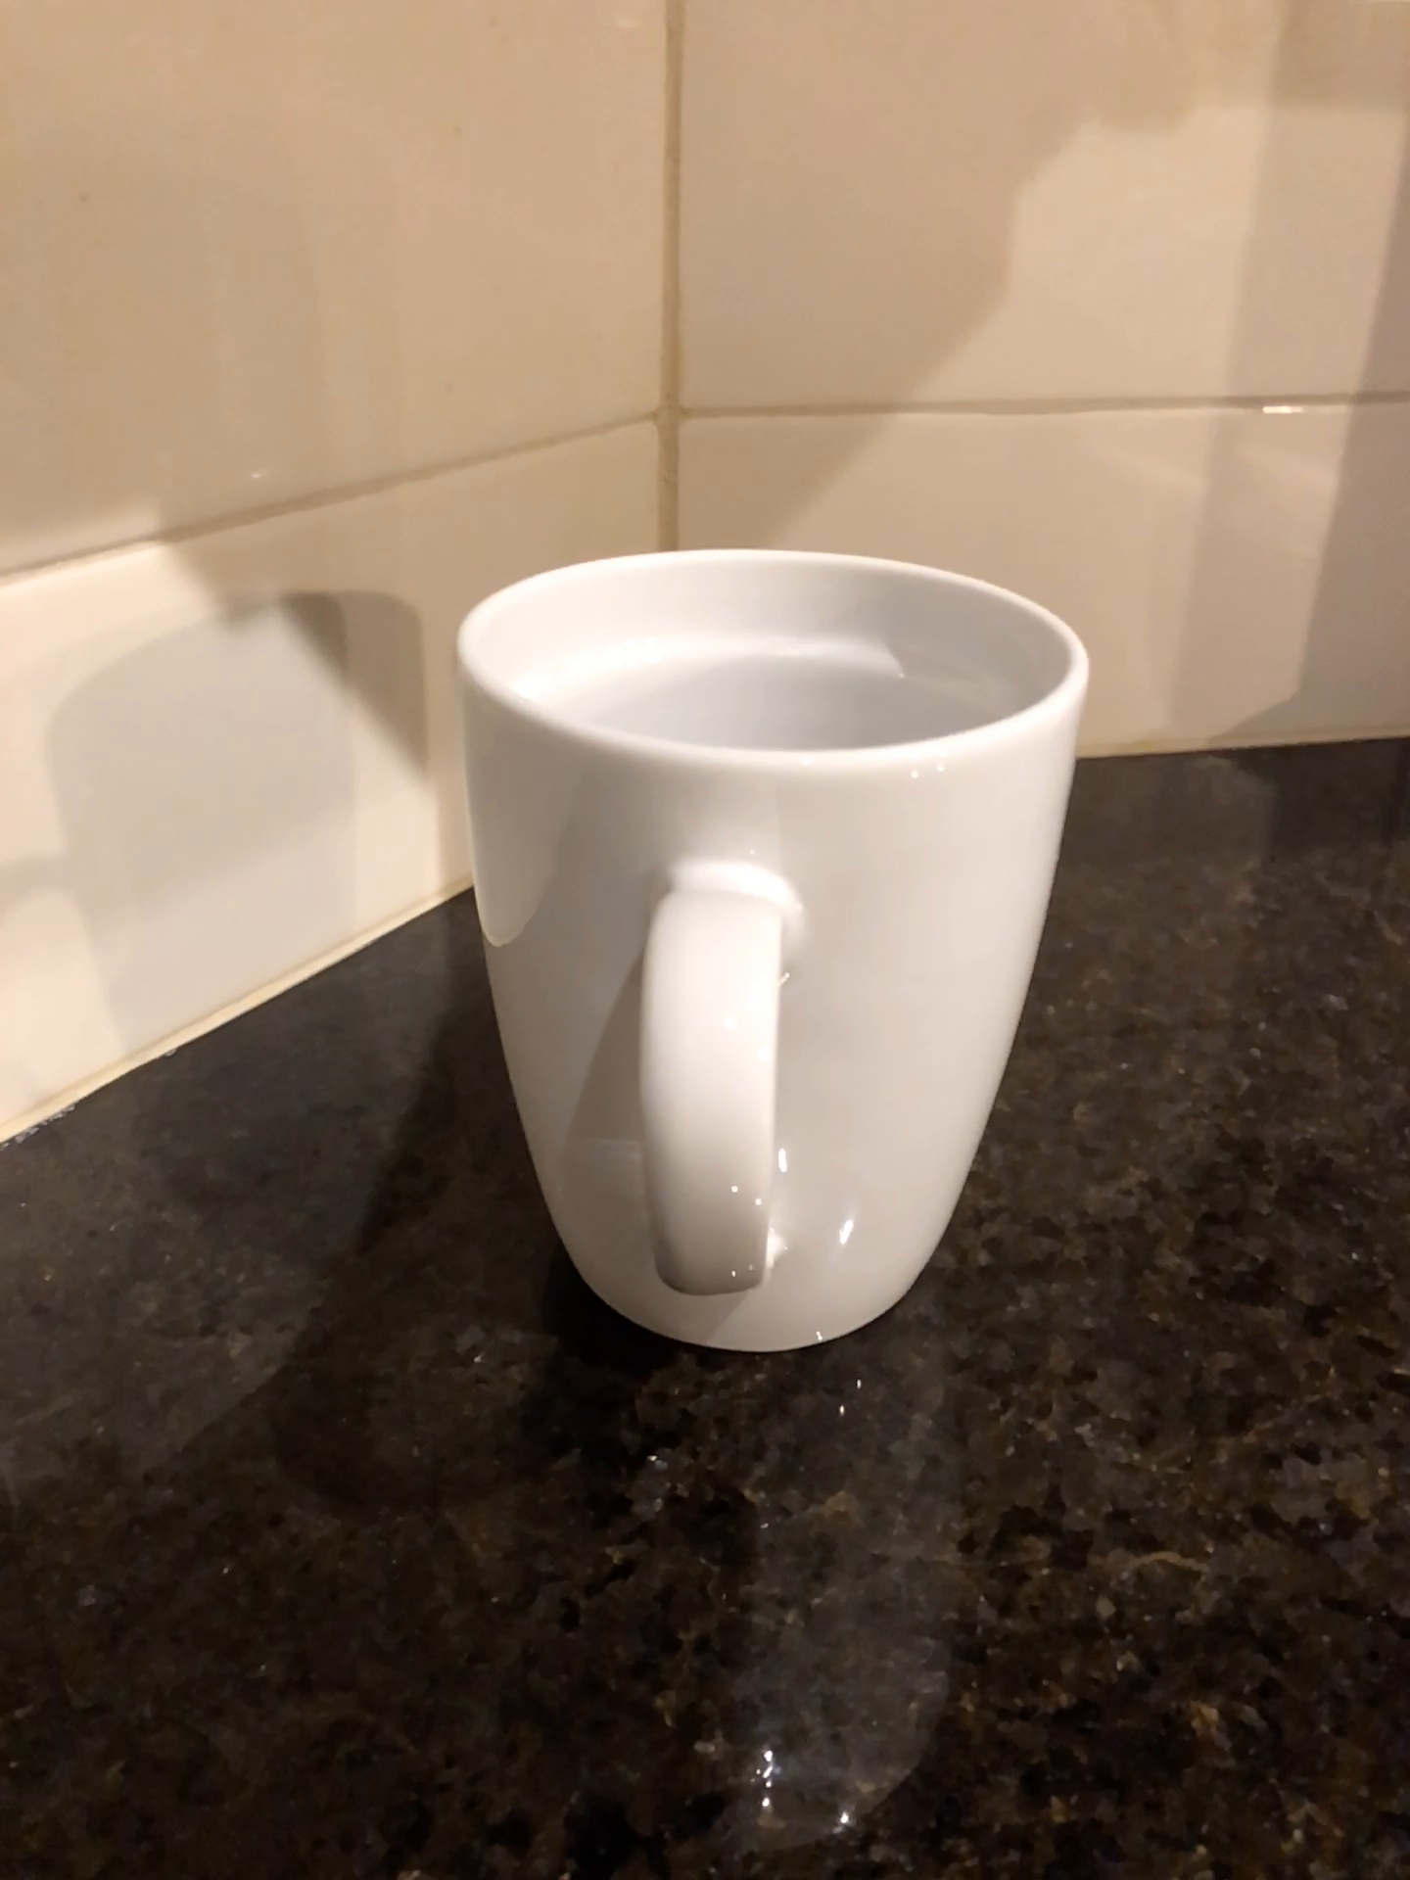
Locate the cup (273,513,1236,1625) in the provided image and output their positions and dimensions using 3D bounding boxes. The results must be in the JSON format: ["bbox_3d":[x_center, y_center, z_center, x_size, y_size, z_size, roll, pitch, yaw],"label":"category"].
[{"bbox_3d":[0.014,0.003,0.222,0.090,0.090,0.131,7,29,10],"label":"cup"}]
